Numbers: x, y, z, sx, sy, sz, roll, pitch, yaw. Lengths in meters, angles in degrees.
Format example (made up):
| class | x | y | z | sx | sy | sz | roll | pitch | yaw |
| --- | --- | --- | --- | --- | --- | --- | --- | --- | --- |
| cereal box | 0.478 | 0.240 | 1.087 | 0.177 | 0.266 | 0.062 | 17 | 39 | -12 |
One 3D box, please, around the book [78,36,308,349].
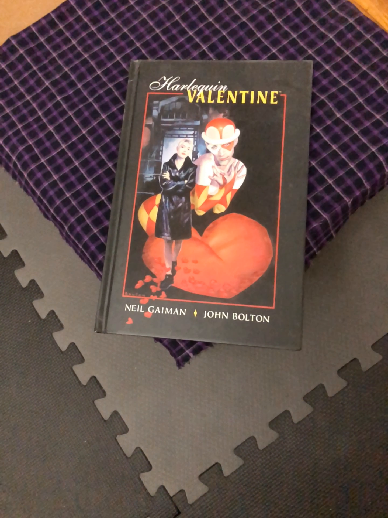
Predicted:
| class | x | y | z | sx | sy | sz | roll | pitch | yaw |
| --- | --- | --- | --- | --- | --- | --- | --- | --- | --- |
| book | 0.005 | -0.069 | 0.383 | 0.180 | 0.020 | 0.280 | 3 | 78 | 7 |
